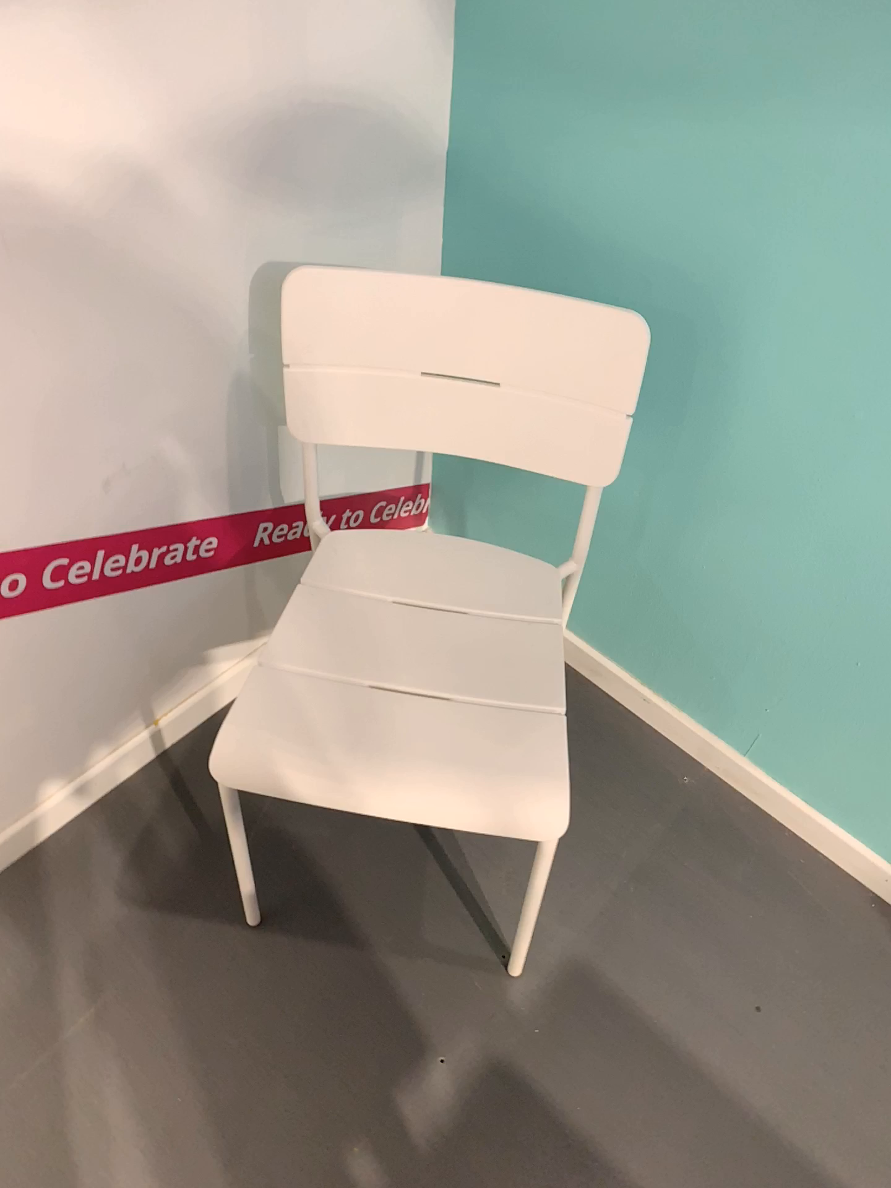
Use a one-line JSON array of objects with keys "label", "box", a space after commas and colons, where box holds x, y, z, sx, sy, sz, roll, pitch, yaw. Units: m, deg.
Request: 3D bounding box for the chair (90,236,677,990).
[{"label": "chair", "box": [-0.033, 0.084, 1.107, 0.430, 0.808, 0.451, 9, 50, 4]}]
